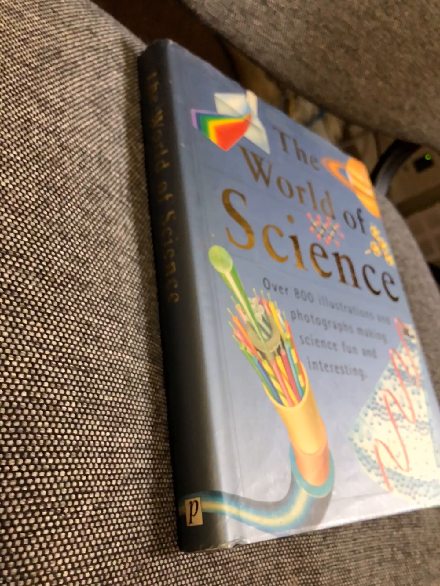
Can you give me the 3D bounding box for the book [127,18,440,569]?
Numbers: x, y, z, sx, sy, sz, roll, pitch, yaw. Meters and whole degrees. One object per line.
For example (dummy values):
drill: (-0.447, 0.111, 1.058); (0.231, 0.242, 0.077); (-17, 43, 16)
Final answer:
book: (0.053, -0.005, 0.310); (0.221, 0.030, 0.276); (14, 59, -42)
